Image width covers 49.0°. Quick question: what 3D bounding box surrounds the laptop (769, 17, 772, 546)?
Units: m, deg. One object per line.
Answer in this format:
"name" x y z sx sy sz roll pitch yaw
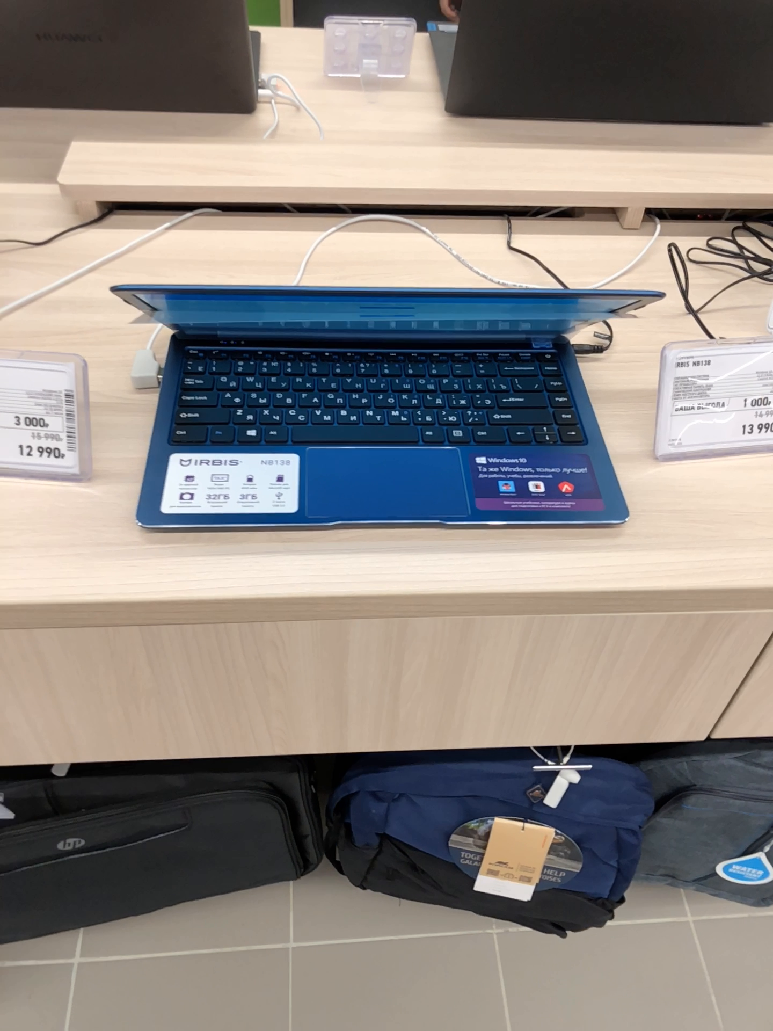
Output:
"laptop" 0.507 -0.178 0.594 0.339 0.212 0.304 -1 47 -3

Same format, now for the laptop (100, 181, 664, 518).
"laptop" -0.006 -0.113 0.570 0.308 0.124 0.190 0 48 -4
